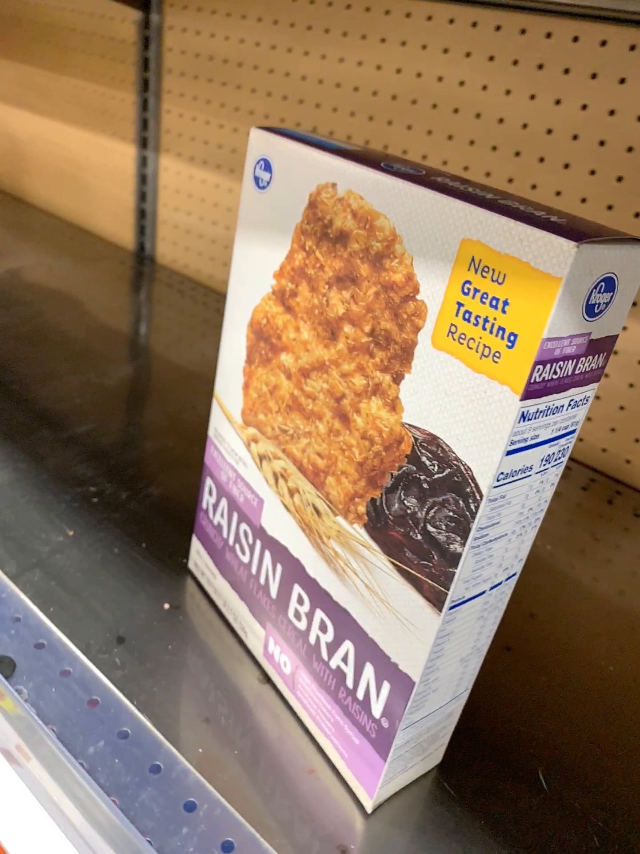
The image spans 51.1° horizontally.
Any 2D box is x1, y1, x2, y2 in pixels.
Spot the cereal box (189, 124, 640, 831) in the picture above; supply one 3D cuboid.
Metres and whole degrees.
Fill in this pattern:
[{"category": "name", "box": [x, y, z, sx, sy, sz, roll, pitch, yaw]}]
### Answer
[{"category": "cereal box", "box": [0.018, 0.019, 0.322, 0.050, 0.269, 0.191, -11, 35, -38]}]
